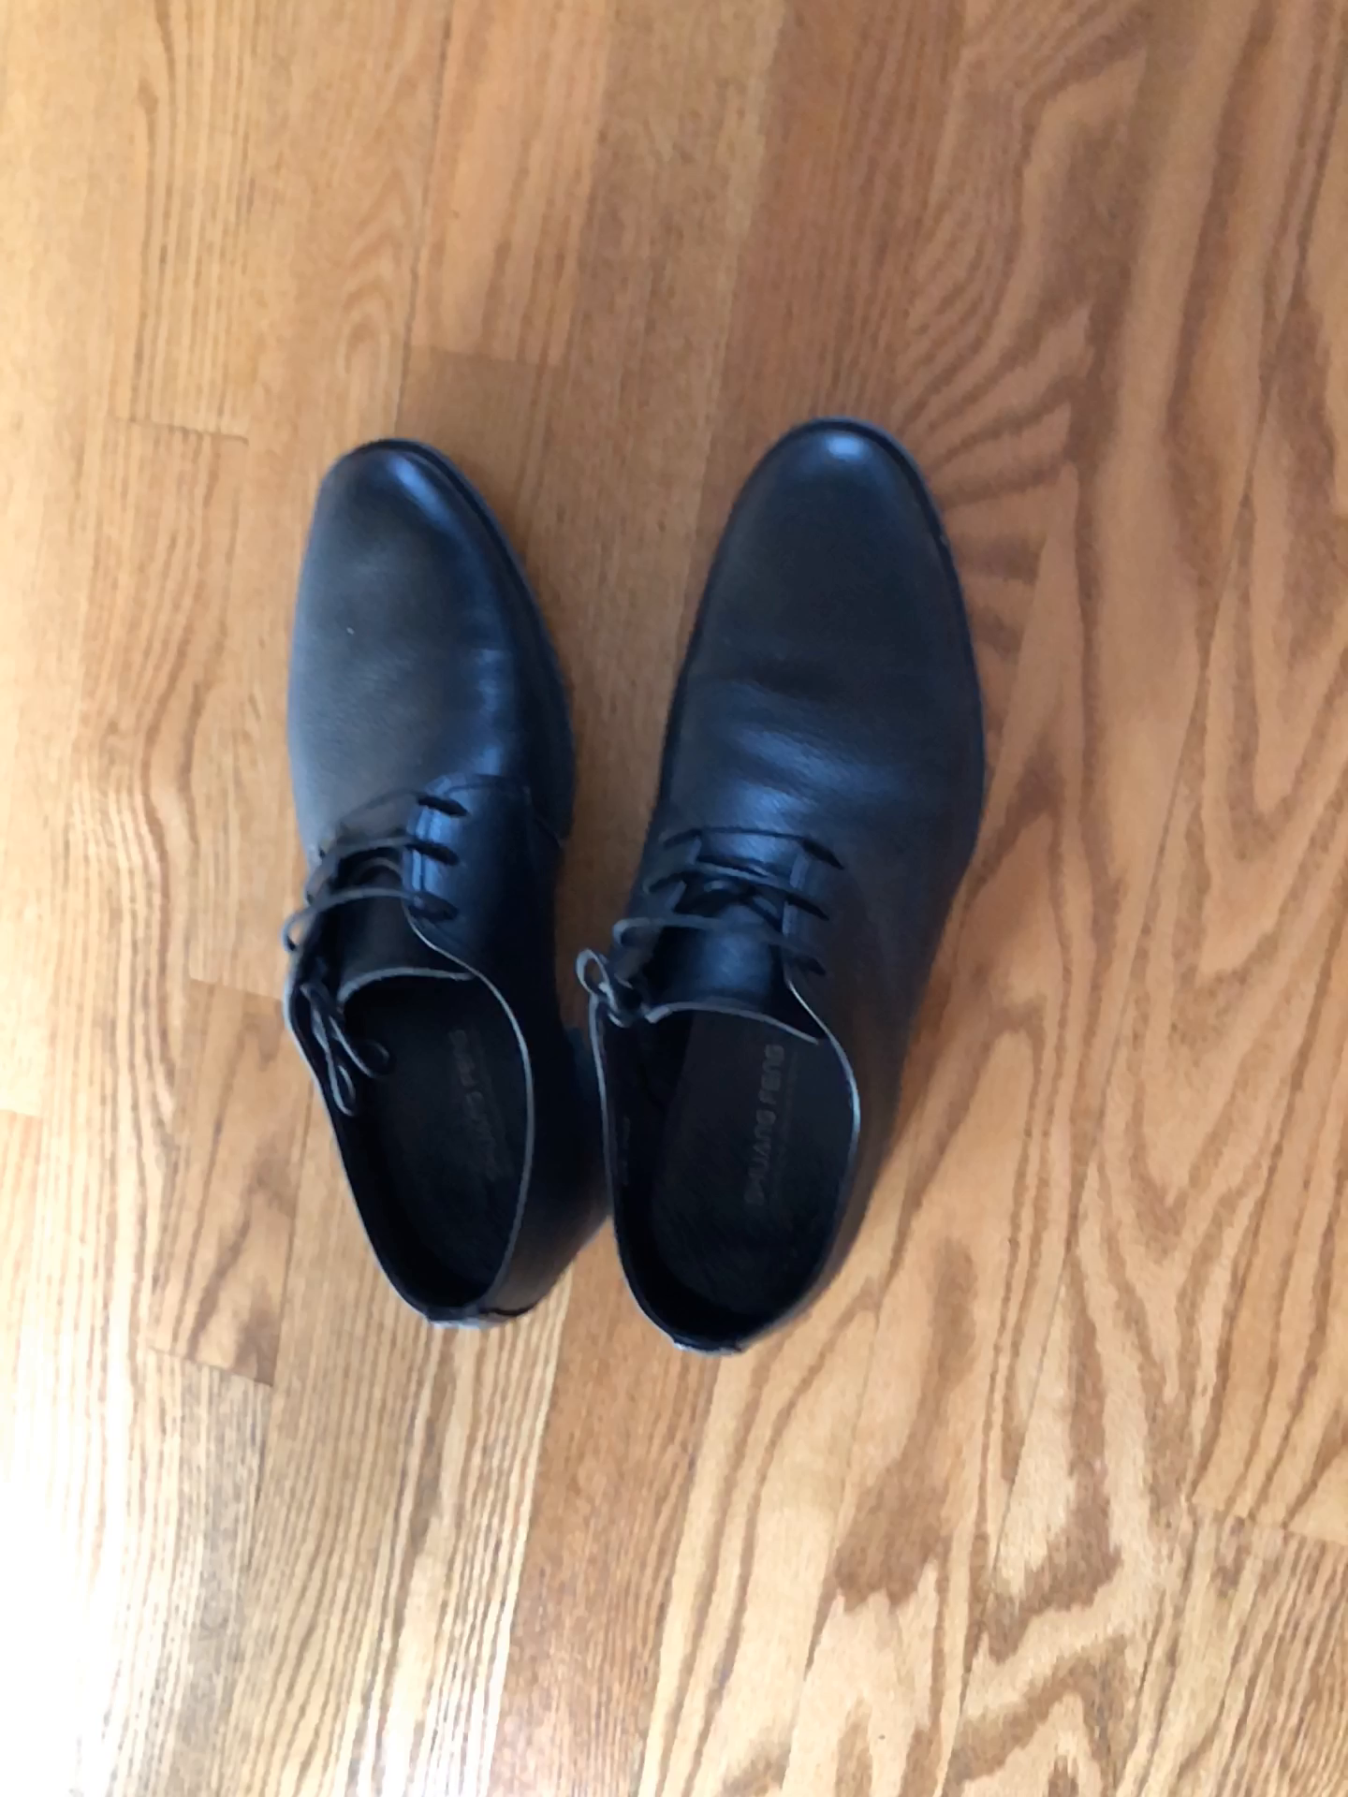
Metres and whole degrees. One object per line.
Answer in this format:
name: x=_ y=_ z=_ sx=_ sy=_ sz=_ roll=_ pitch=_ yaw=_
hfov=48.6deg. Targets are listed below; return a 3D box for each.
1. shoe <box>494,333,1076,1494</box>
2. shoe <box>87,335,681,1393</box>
shoe: x=0.037 y=0.001 z=0.460 sx=0.110 sy=0.124 sz=0.299 roll=11 pitch=99 yaw=12
shoe: x=-0.085 y=-0.008 z=0.501 sx=0.110 sy=0.124 sz=0.304 roll=-7 pitch=95 yaw=14
